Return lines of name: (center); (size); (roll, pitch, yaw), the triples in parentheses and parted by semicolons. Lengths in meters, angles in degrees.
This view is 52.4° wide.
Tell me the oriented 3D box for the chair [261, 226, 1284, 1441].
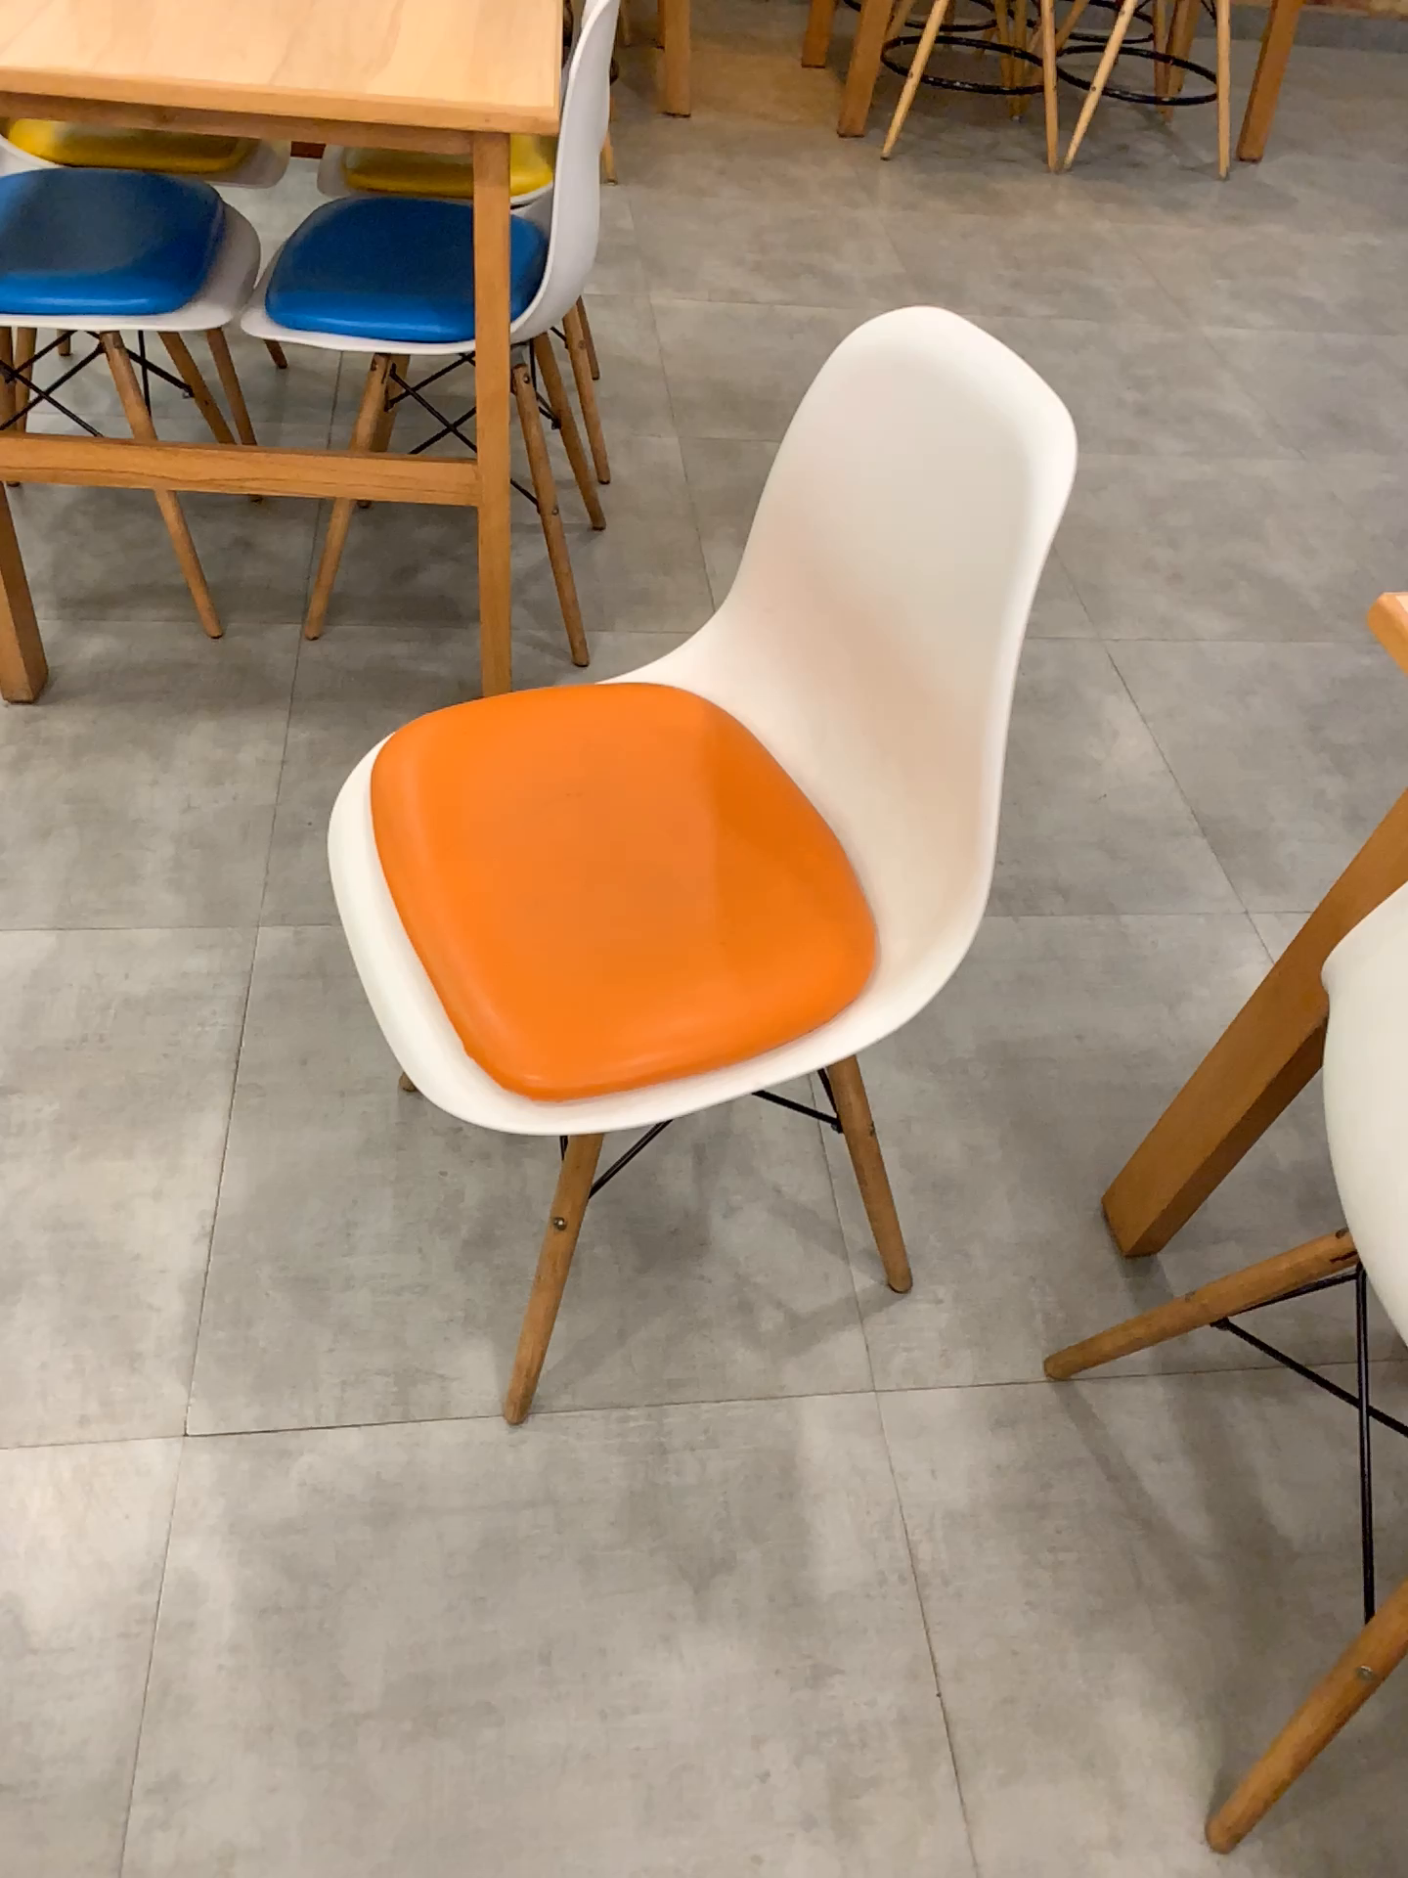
chair: (-0.020, -0.063, 1.071); (0.451, 0.724, 0.443); (-12, 48, -19)
